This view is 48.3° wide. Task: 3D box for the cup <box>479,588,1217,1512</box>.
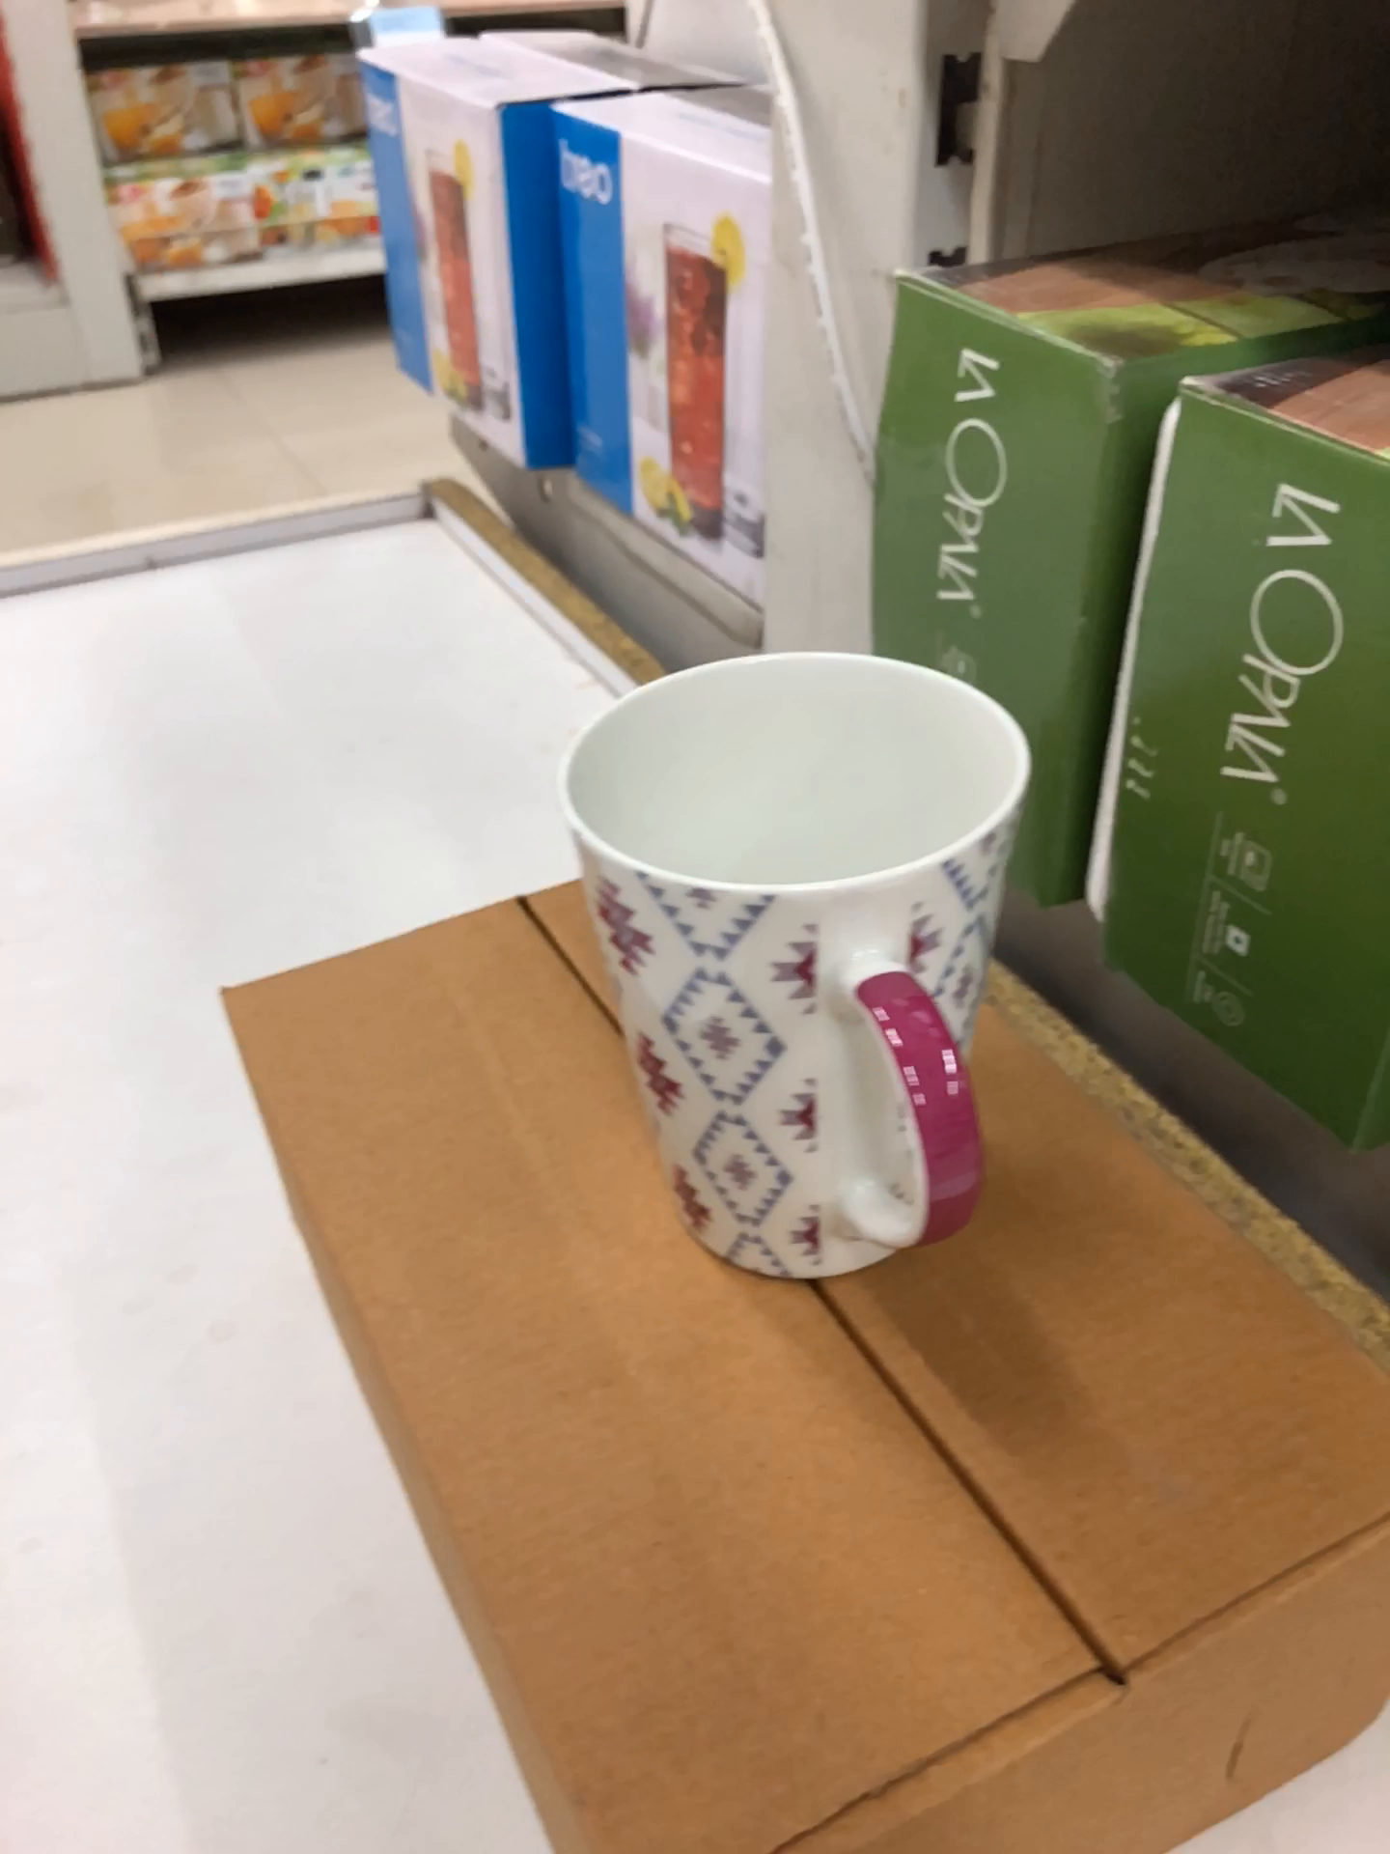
[{"bbox_3d":[0.017,0.014,0.281,0.080,0.099,0.121,-11,37,-14],"label":"cup"}]
